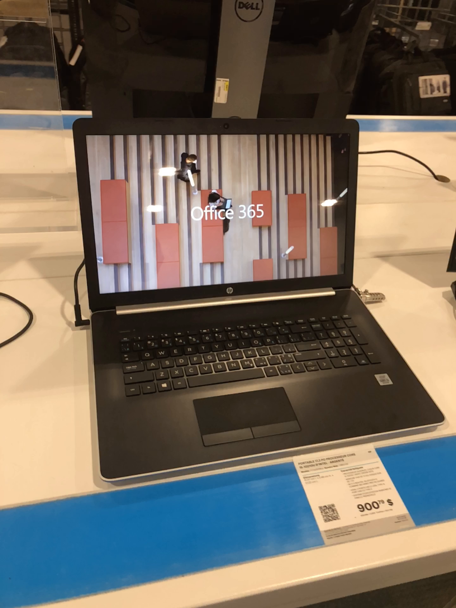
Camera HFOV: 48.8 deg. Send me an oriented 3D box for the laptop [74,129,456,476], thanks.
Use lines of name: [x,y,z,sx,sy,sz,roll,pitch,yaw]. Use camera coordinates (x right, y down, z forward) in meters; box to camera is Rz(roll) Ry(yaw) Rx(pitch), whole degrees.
laptop: [0.032,-0.044,0.645,0.411,0.242,0.382,-5,38,-14]
